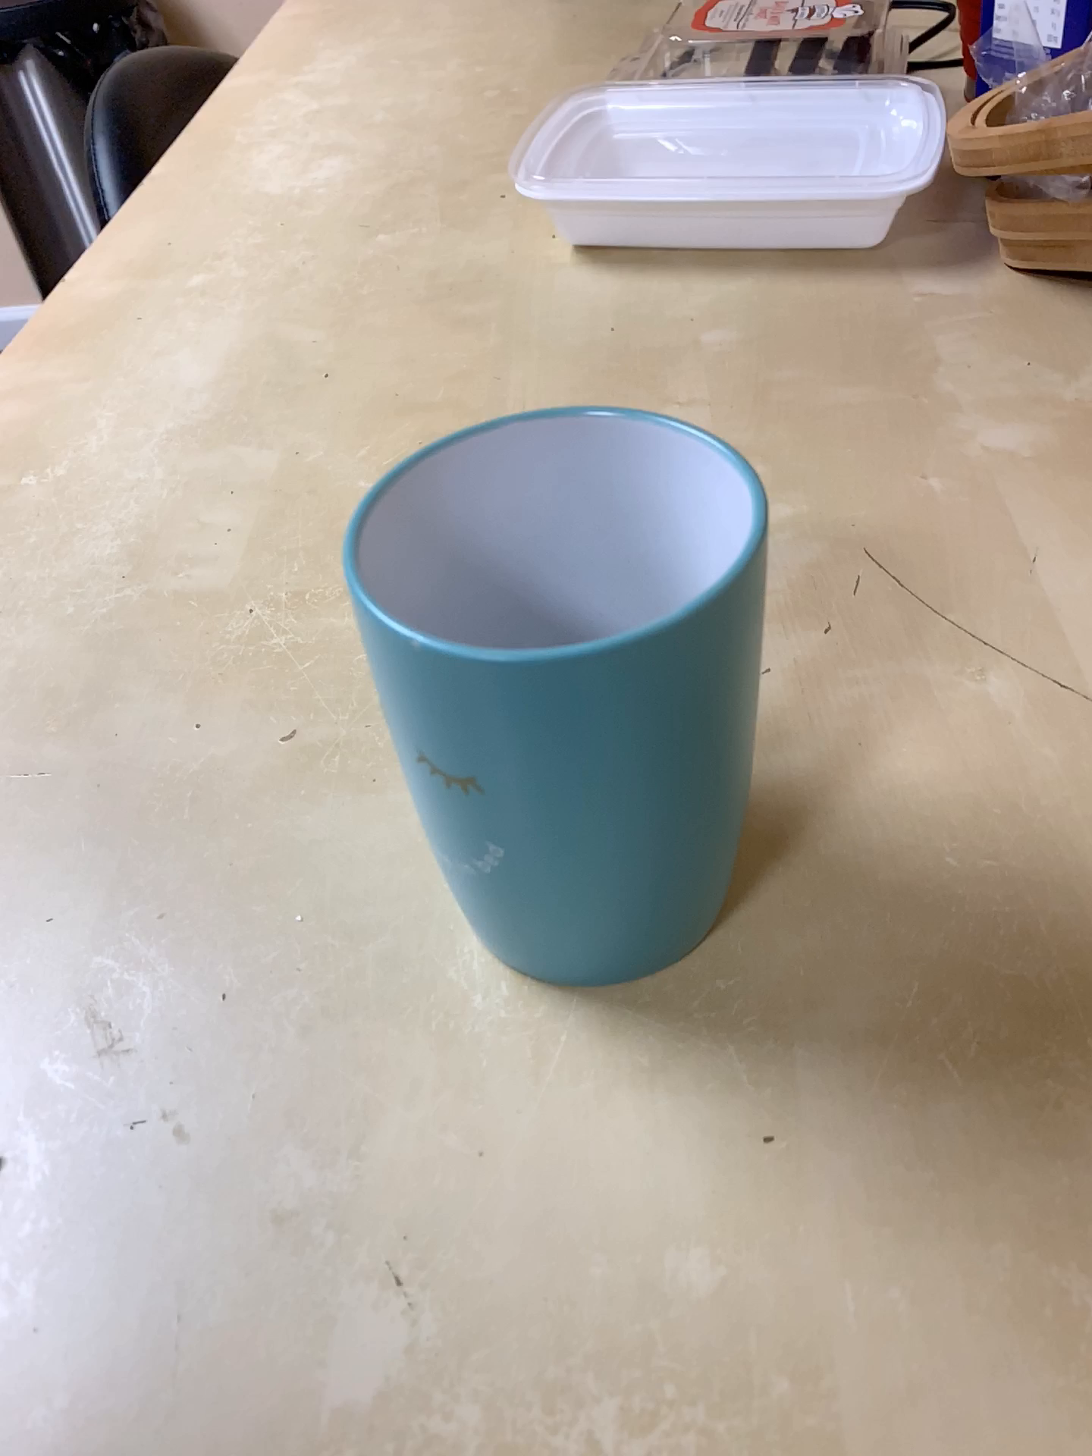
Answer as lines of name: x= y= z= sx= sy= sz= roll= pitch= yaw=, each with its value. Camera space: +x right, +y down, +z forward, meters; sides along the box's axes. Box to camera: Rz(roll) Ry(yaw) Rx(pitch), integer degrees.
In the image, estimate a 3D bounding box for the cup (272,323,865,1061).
cup: x=0.002 y=-0.013 z=0.280 sx=0.091 sy=0.114 sz=0.122 roll=-18 pitch=45 yaw=-10
